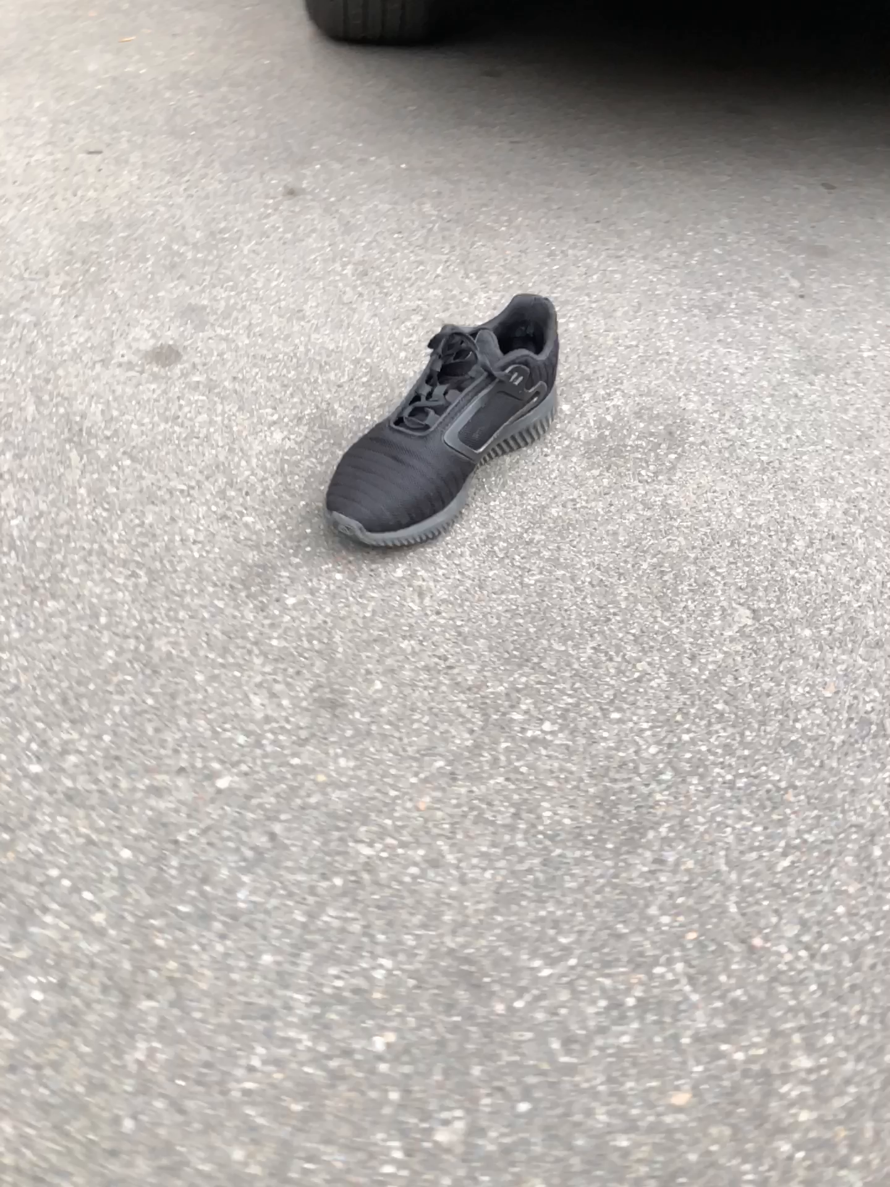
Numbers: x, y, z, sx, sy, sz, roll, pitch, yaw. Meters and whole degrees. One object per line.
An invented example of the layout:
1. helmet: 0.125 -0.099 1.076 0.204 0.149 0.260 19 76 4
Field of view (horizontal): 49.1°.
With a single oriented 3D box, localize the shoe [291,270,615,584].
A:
1. shoe: 0.013 -0.142 0.766 0.100 0.109 0.281 28 47 23
